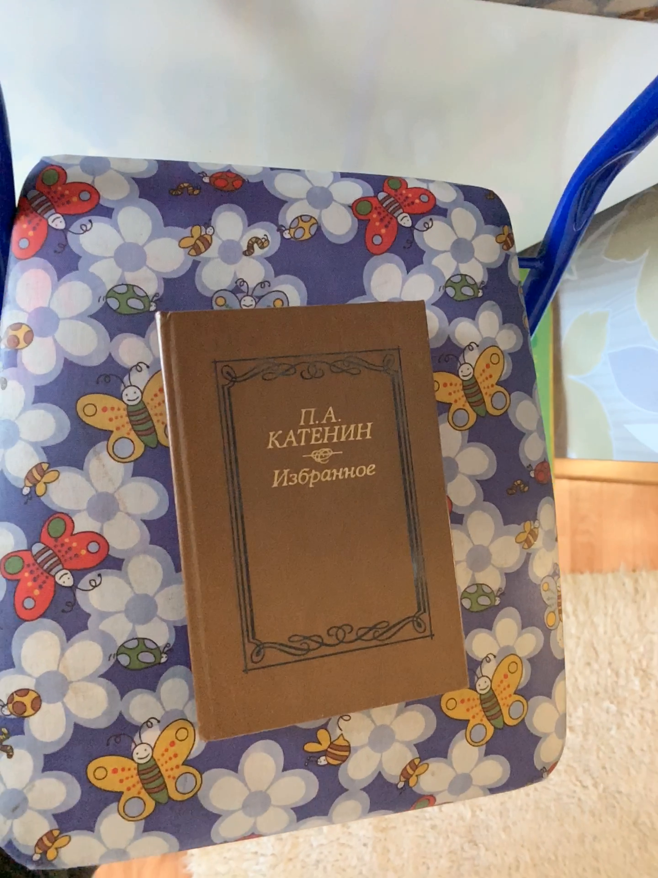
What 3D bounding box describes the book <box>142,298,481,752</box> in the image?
[{"bbox_3d":[-0.006,0.030,0.289,0.124,0.020,0.170,-7,89,-15],"label":"book"}]
